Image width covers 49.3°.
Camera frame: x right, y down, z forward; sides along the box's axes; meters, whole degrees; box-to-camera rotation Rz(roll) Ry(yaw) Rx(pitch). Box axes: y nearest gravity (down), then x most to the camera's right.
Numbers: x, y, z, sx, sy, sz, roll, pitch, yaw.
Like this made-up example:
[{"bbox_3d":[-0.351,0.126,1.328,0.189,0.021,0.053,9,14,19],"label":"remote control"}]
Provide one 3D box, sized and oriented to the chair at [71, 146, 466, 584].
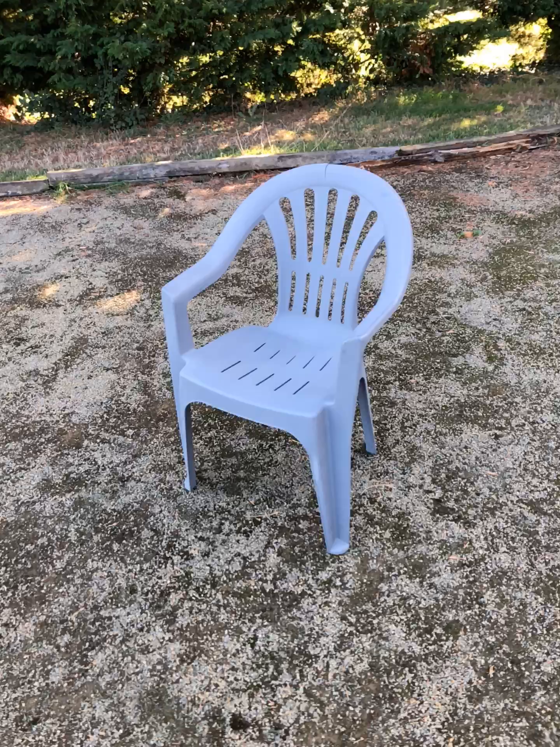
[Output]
[{"bbox_3d":[0.016,-0.071,1.562,0.630,0.775,0.623,18,40,29],"label":"chair"}]
